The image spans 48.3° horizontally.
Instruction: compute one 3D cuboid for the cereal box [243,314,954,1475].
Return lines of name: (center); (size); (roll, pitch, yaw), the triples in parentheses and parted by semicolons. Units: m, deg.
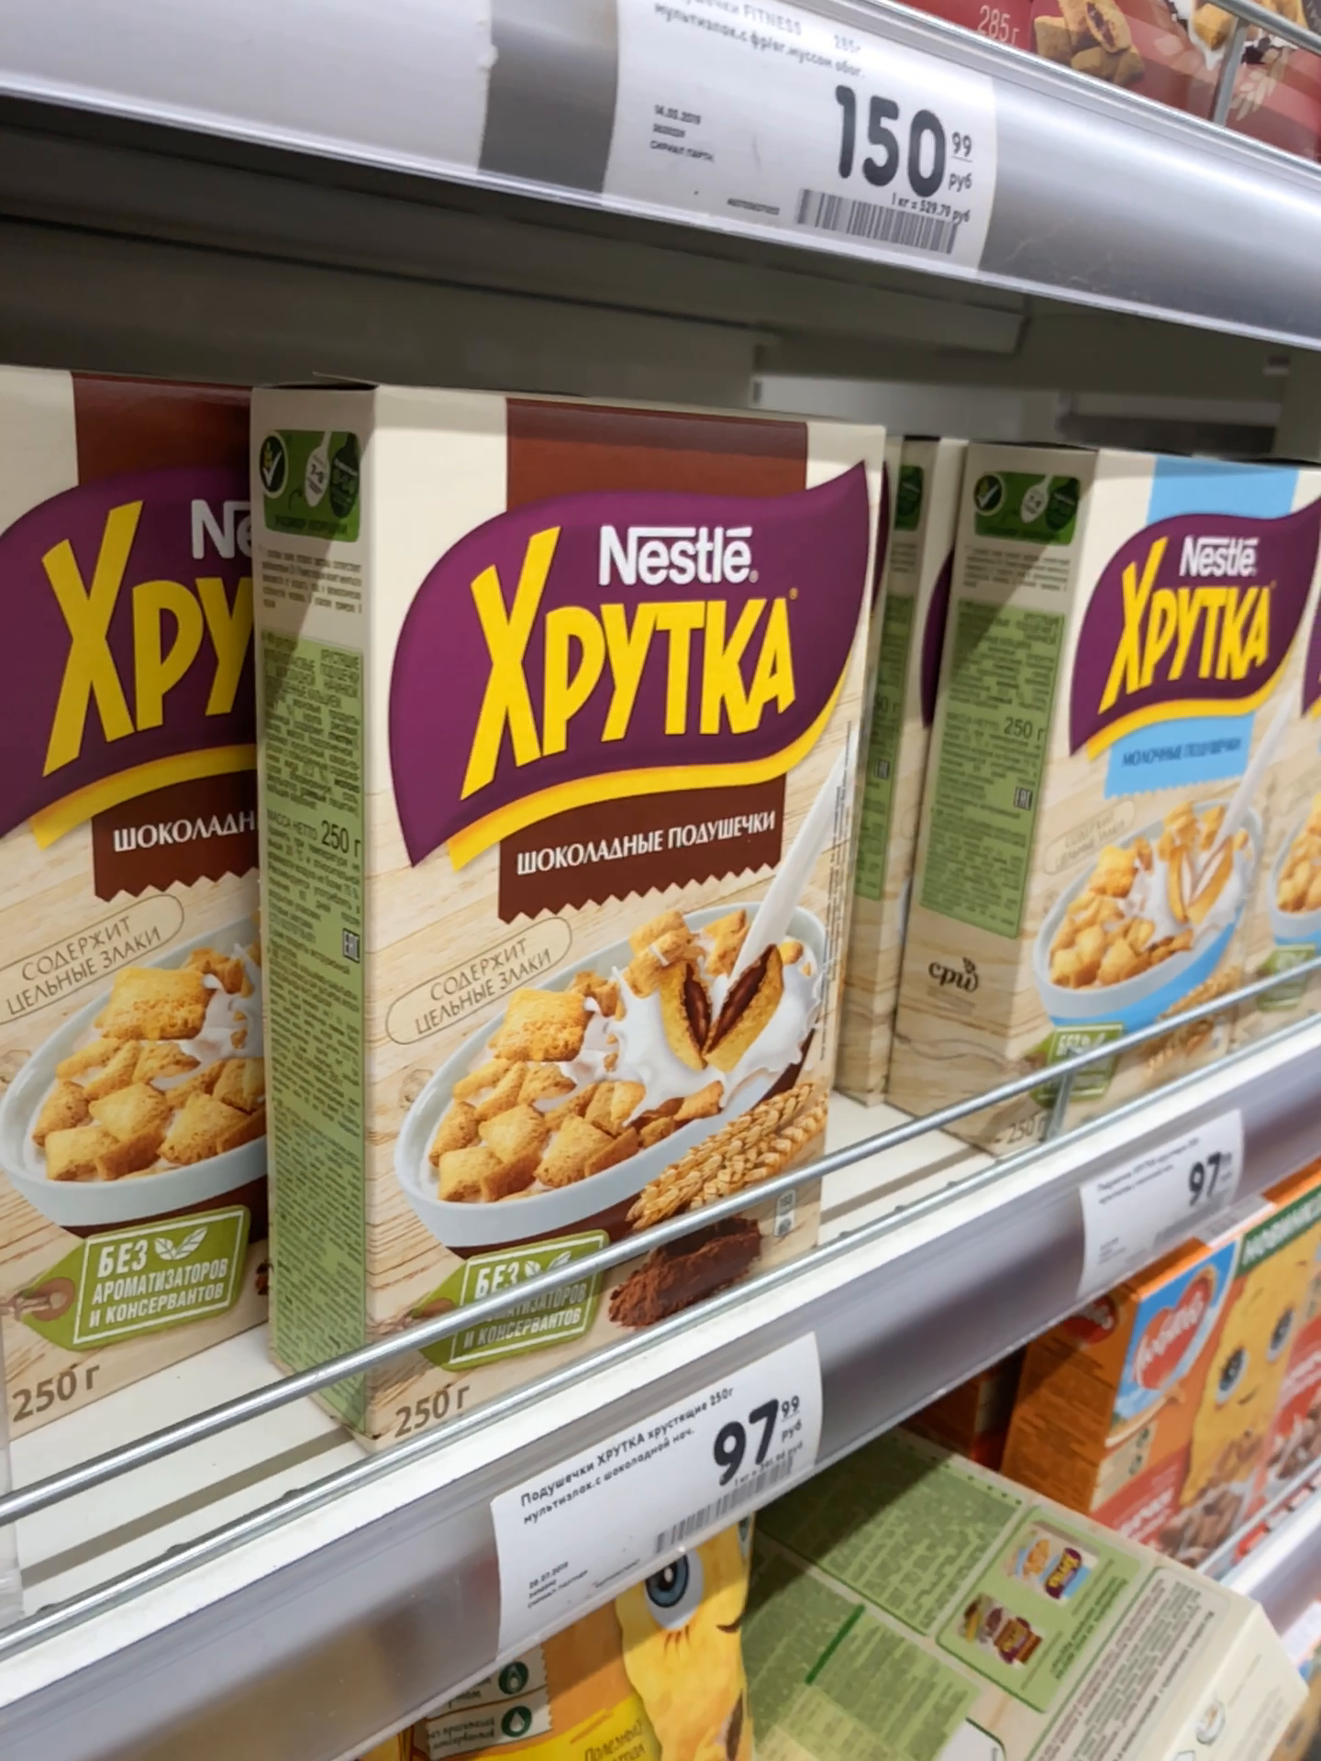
cereal box: (-0.009, -0.003, 0.335); (0.160, 0.219, 0.040); (-11, 20, -41)
